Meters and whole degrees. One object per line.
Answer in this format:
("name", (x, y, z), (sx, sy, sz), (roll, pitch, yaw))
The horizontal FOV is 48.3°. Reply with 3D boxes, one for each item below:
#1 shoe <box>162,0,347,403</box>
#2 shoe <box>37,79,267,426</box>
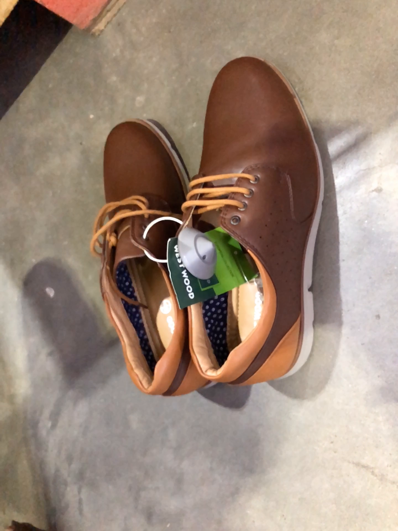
("shoe", (0.053, -0.052, 0.412), (0.120, 0.130, 0.310), (-3, 86, 33))
("shoe", (-0.049, -0.010, 0.434), (0.110, 0.120, 0.280), (-24, 75, 30))
